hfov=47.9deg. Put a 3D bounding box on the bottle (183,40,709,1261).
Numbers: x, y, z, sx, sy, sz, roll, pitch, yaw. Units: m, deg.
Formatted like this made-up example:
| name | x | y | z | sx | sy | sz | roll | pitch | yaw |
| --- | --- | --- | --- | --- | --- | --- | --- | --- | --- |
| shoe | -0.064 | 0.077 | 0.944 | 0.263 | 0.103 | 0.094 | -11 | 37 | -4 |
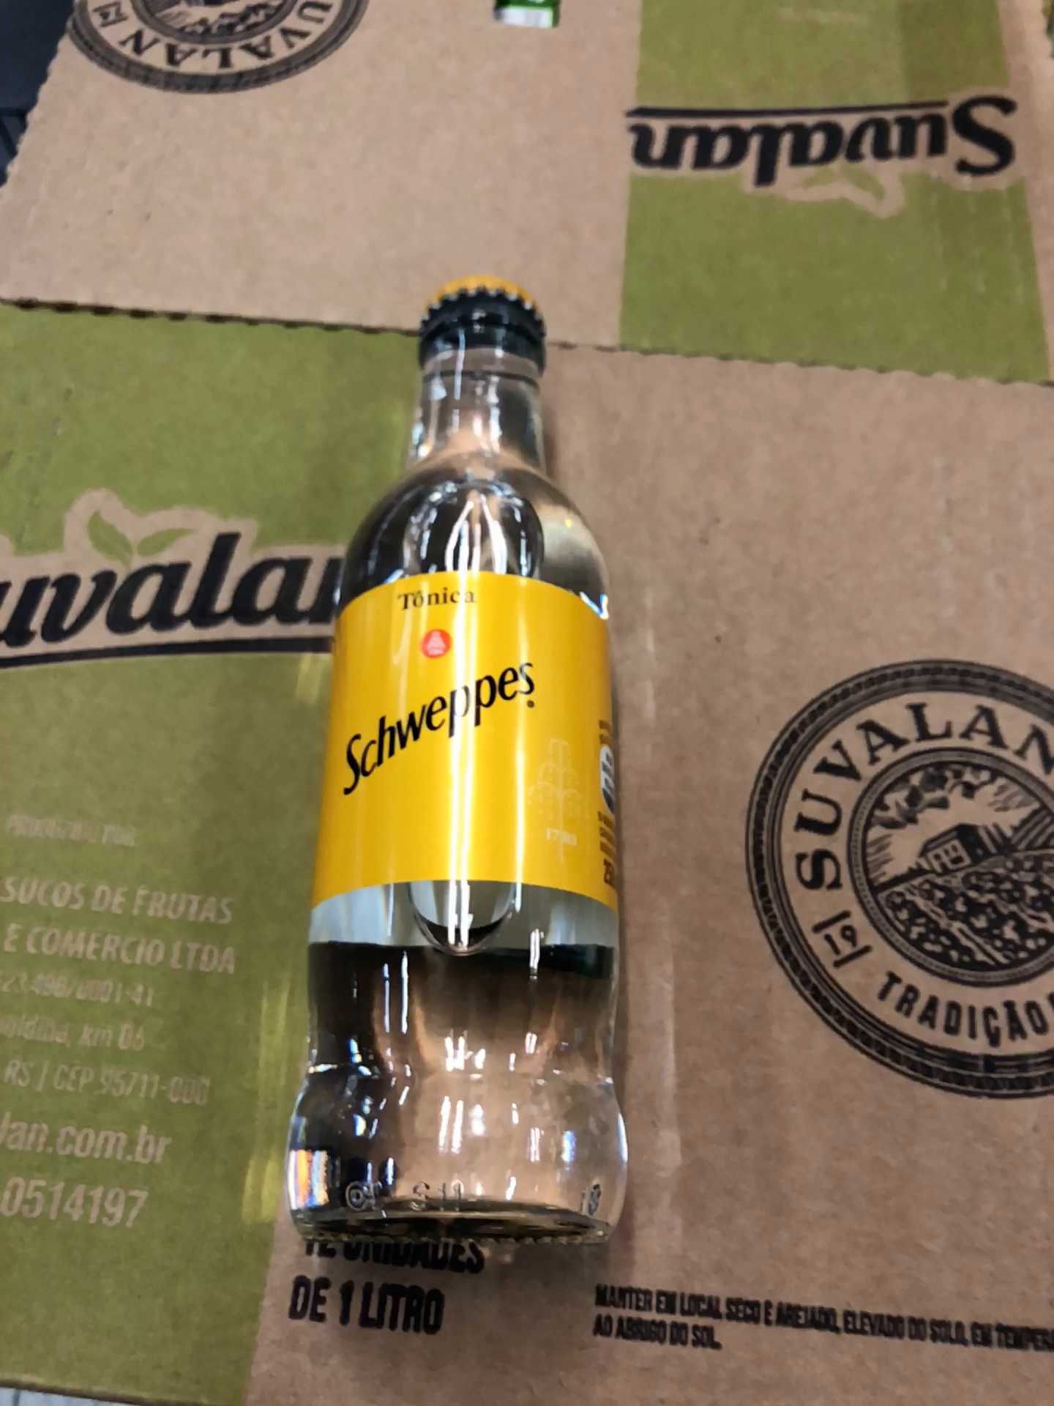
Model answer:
| name | x | y | z | sx | sy | sz | roll | pitch | yaw |
| --- | --- | --- | --- | --- | --- | --- | --- | --- | --- |
| bottle | -0.013 | -0.021 | 0.241 | 0.070 | 0.070 | 0.241 | 0 | 65 | -2 |
